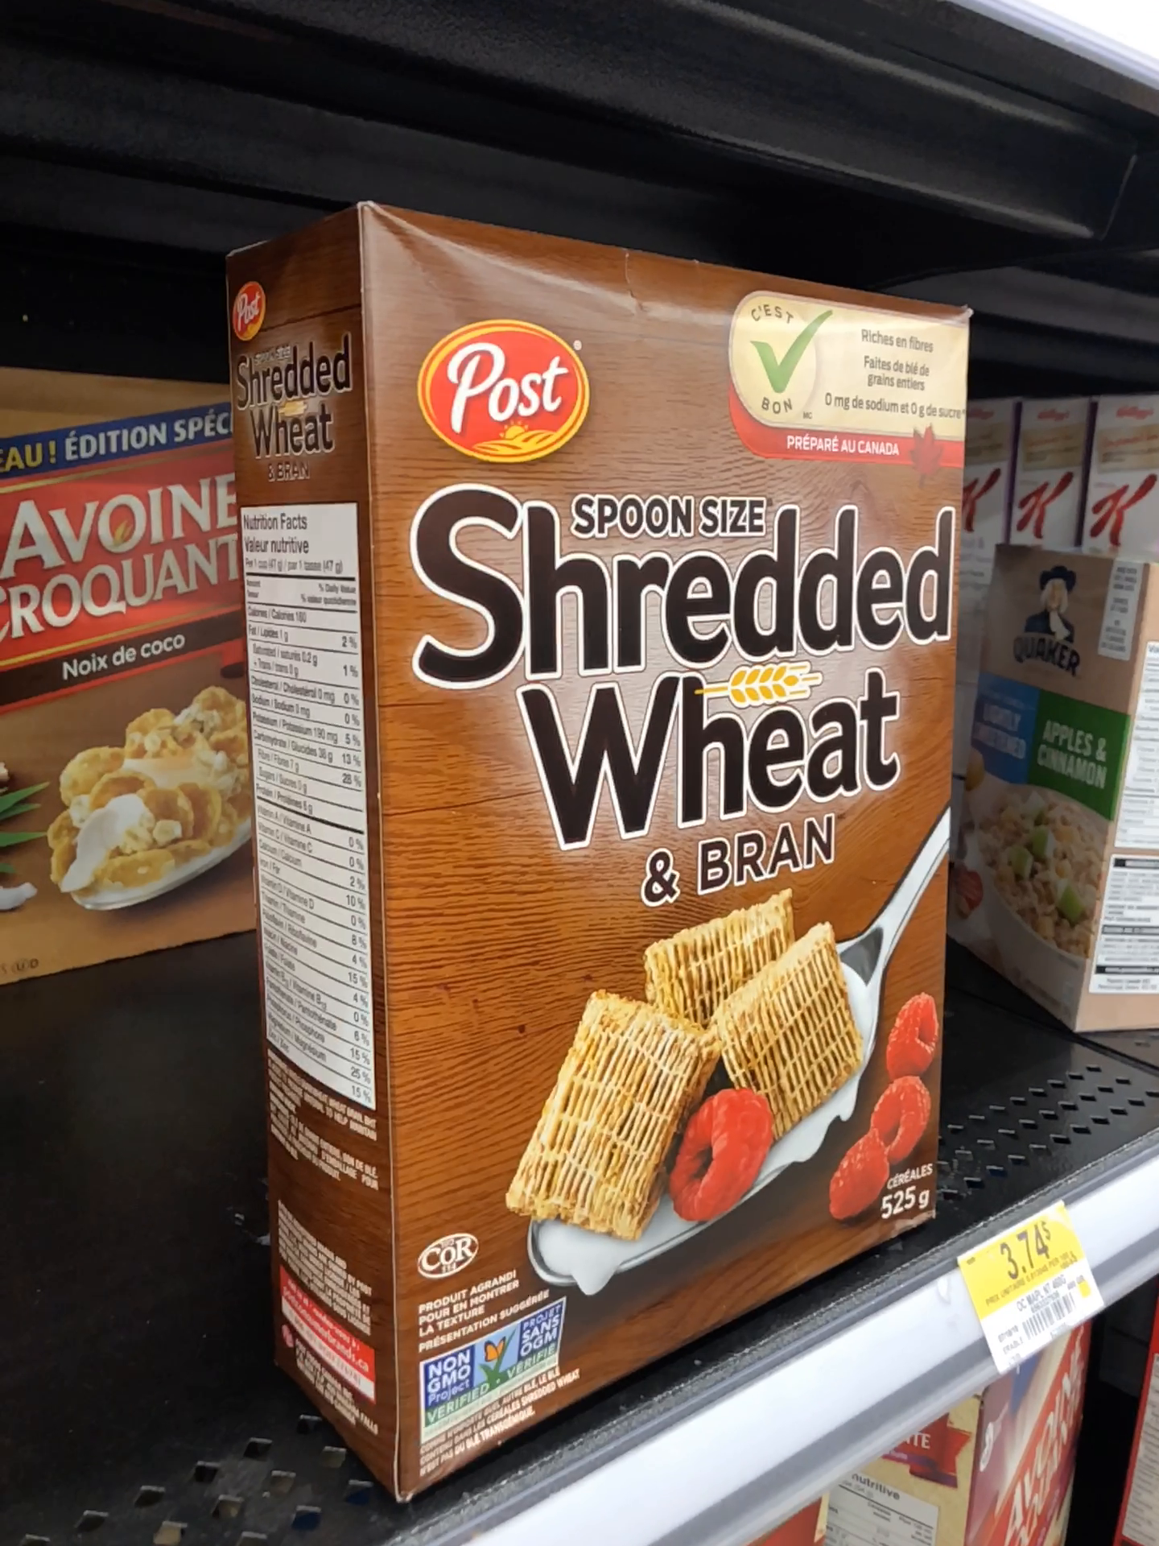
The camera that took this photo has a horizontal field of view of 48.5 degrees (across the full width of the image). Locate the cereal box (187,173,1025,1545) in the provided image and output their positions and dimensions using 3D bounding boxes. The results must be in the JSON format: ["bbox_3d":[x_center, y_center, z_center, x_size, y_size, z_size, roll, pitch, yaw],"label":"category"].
[{"bbox_3d":[0.020,0.011,0.325,0.210,0.259,0.060,-8,13,-39],"label":"cereal box"}]
